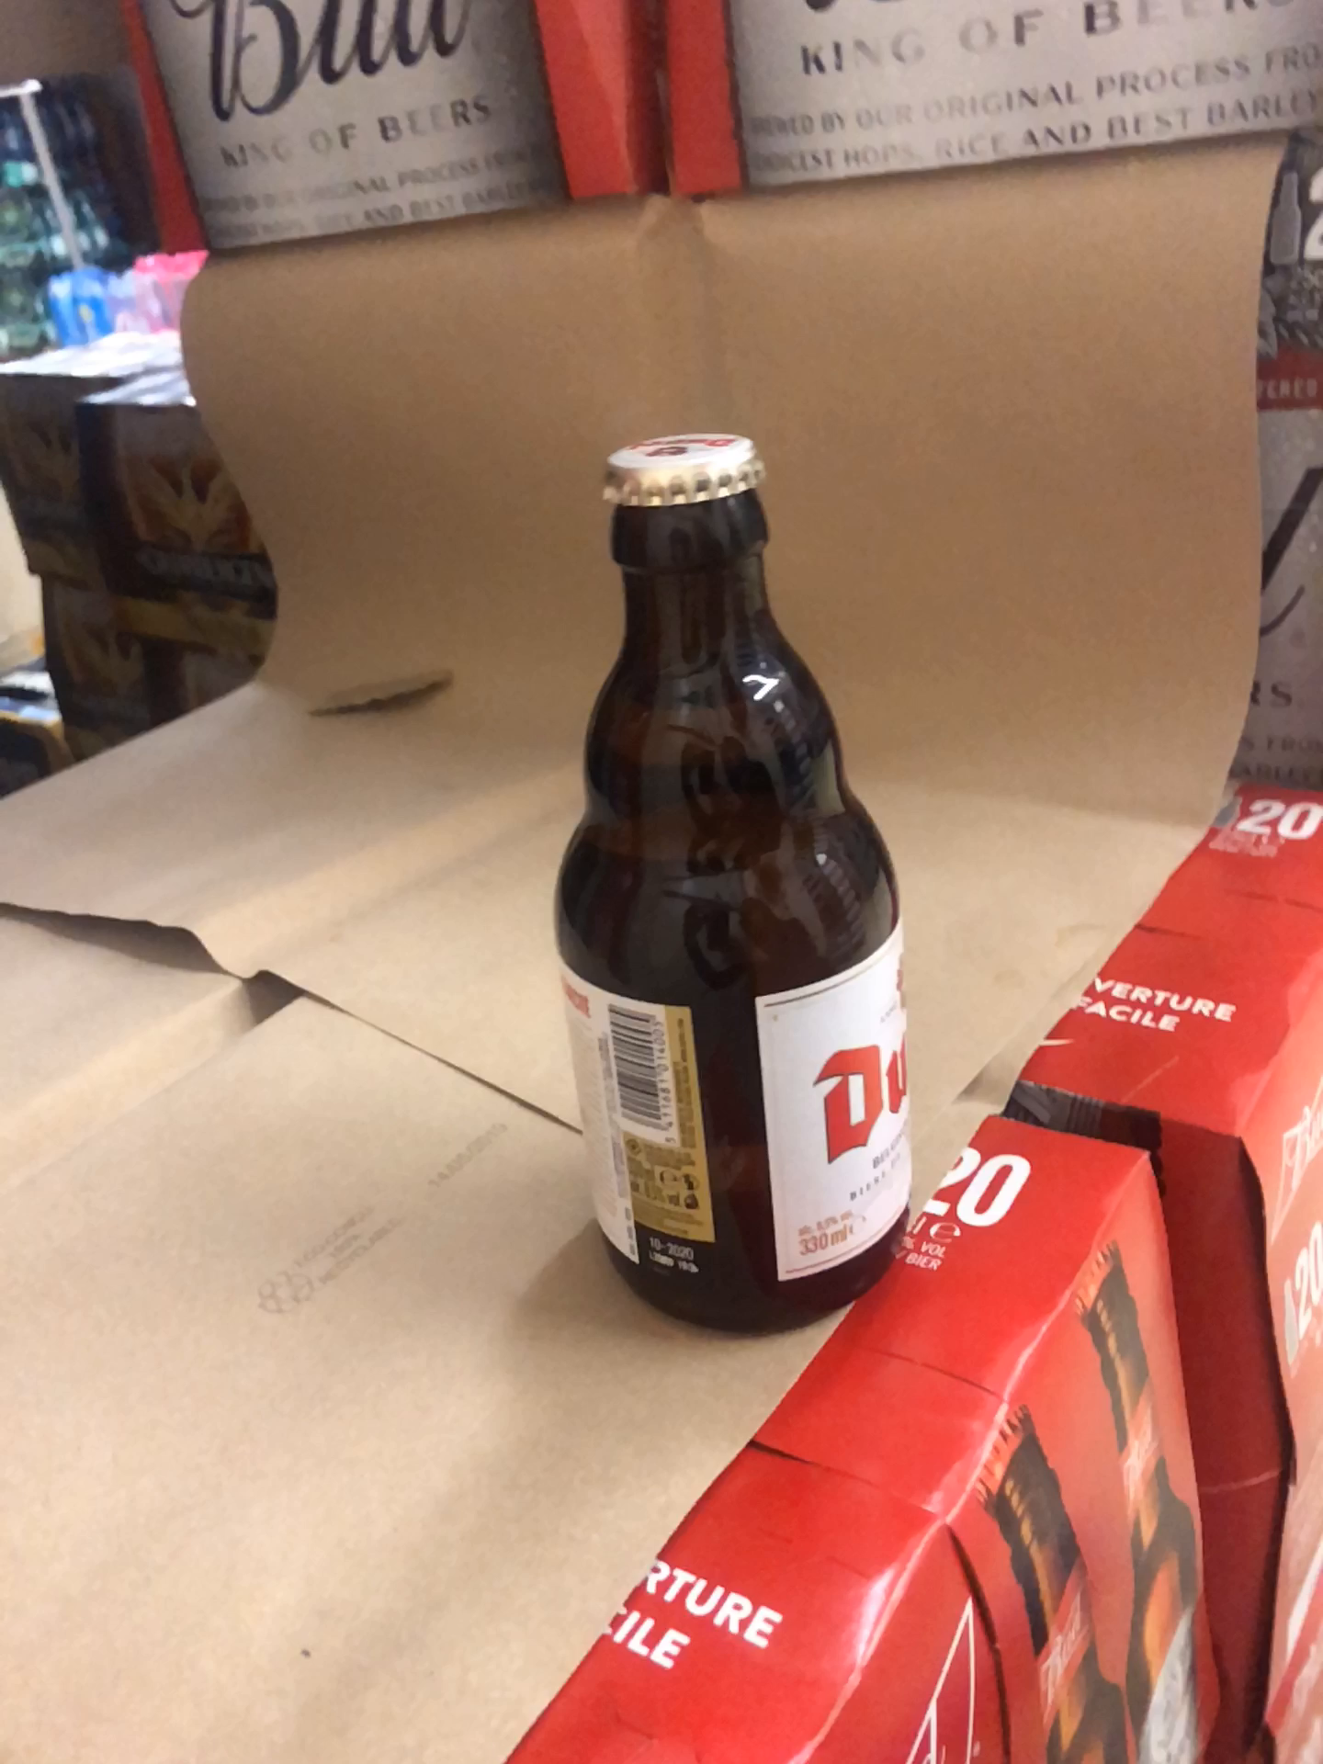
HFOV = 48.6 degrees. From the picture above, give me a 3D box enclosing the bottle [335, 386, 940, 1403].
[{"bbox_3d":[0.008,0.004,0.280,0.070,0.169,0.081,2,31,19],"label":"bottle"}]
